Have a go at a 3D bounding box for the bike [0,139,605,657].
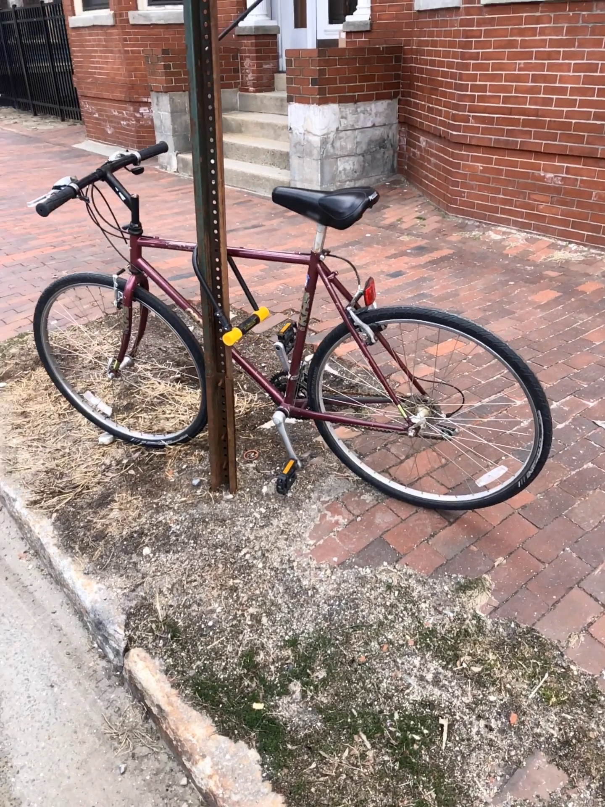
[{"bbox_3d":[-0.168,-0.154,1.906,1.726,1.011,0.671,11,31,22],"label":"bike"}]
